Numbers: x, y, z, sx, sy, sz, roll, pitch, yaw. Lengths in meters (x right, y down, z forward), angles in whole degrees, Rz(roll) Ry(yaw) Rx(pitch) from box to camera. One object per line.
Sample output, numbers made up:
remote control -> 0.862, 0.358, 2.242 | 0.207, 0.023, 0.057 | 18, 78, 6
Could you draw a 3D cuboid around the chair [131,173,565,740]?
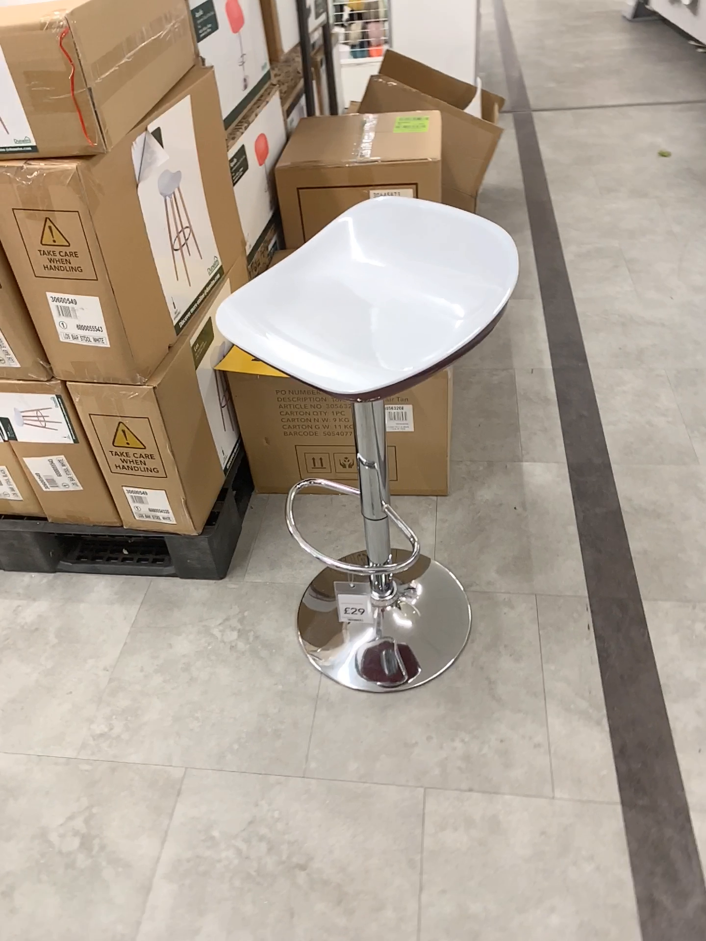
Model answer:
chair -> 0.026, -0.015, 1.270 | 0.437, 0.792, 0.436 | 27, 51, 33
